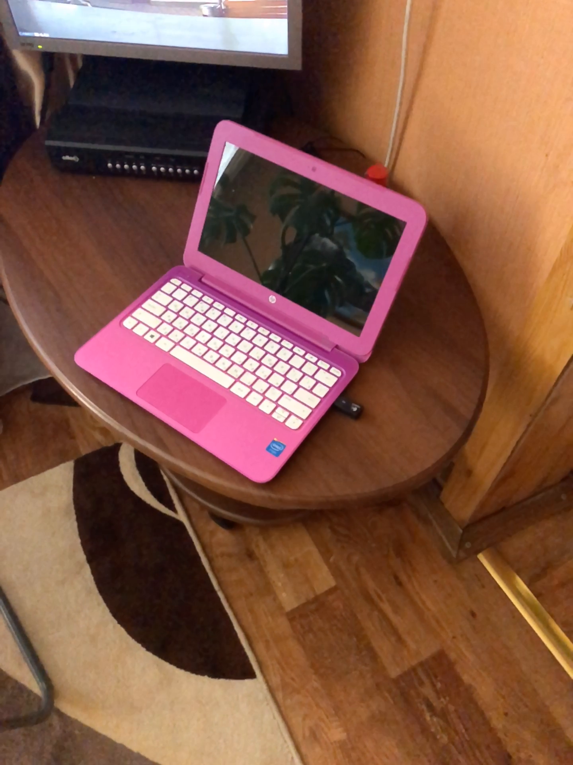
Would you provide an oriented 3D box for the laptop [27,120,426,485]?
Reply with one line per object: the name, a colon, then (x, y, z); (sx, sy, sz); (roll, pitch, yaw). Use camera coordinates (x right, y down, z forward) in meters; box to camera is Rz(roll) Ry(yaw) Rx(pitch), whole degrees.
laptop: (-0.052, -0.104, 0.696); (0.279, 0.150, 0.296); (30, 60, 20)
